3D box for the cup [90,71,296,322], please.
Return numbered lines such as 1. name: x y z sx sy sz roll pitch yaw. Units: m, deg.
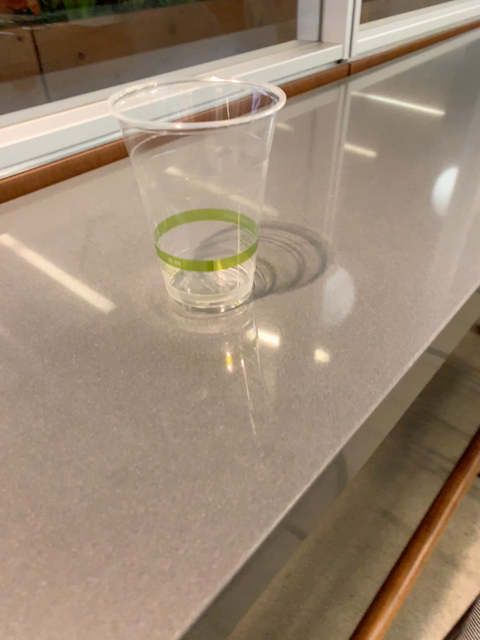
1. cup: -0.017 -0.082 0.317 0.100 0.119 0.111 2 38 5
